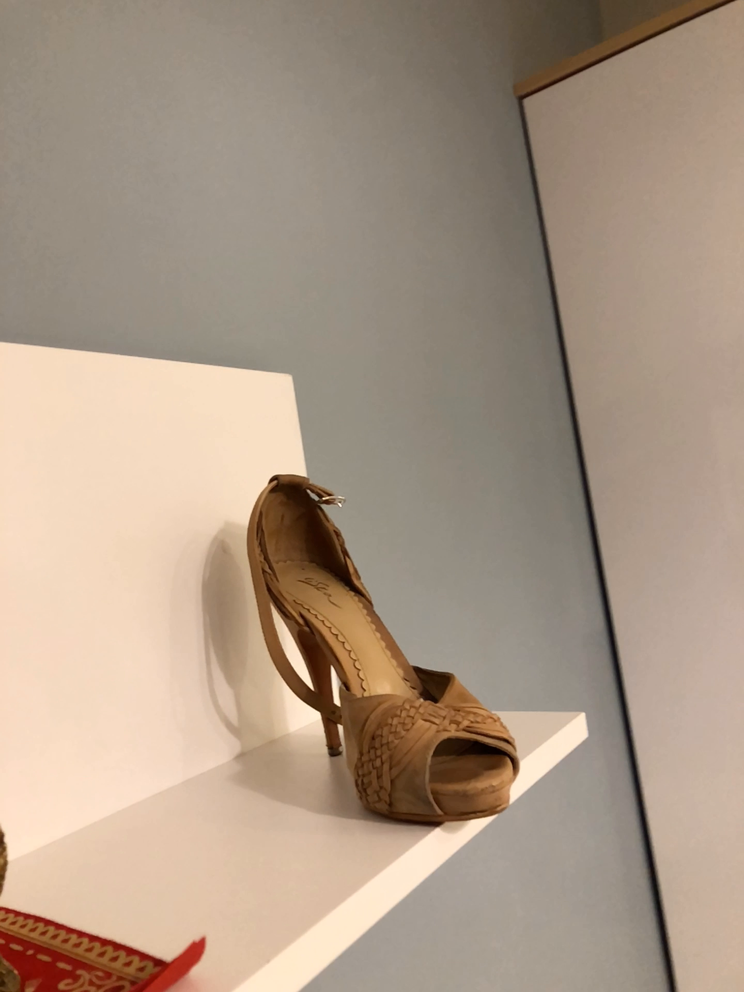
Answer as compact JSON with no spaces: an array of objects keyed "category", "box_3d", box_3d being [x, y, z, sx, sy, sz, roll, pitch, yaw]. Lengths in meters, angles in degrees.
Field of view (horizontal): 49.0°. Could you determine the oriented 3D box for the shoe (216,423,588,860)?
[{"category":"shoe","box_3d":[-0.001,0.070,0.466,0.100,0.180,0.210,-7,-4,-26]}]
